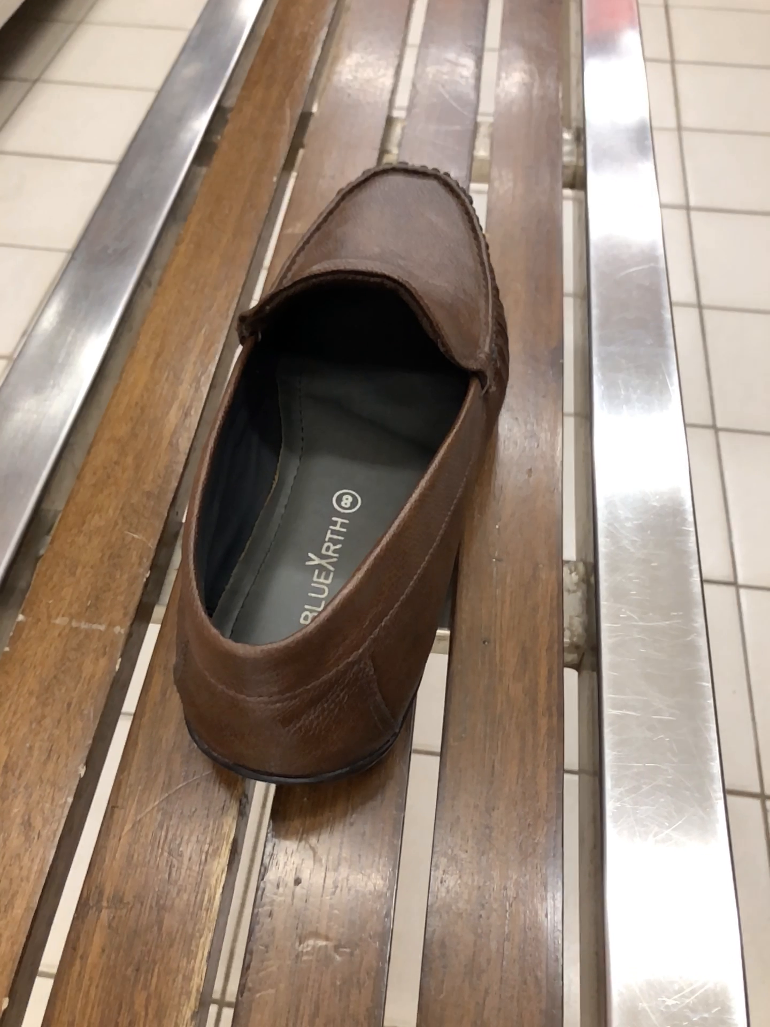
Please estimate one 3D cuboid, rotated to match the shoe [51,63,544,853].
[{"bbox_3d":[-0.005,-0.047,0.327,0.104,0.093,0.303,7,54,6],"label":"shoe"}]
